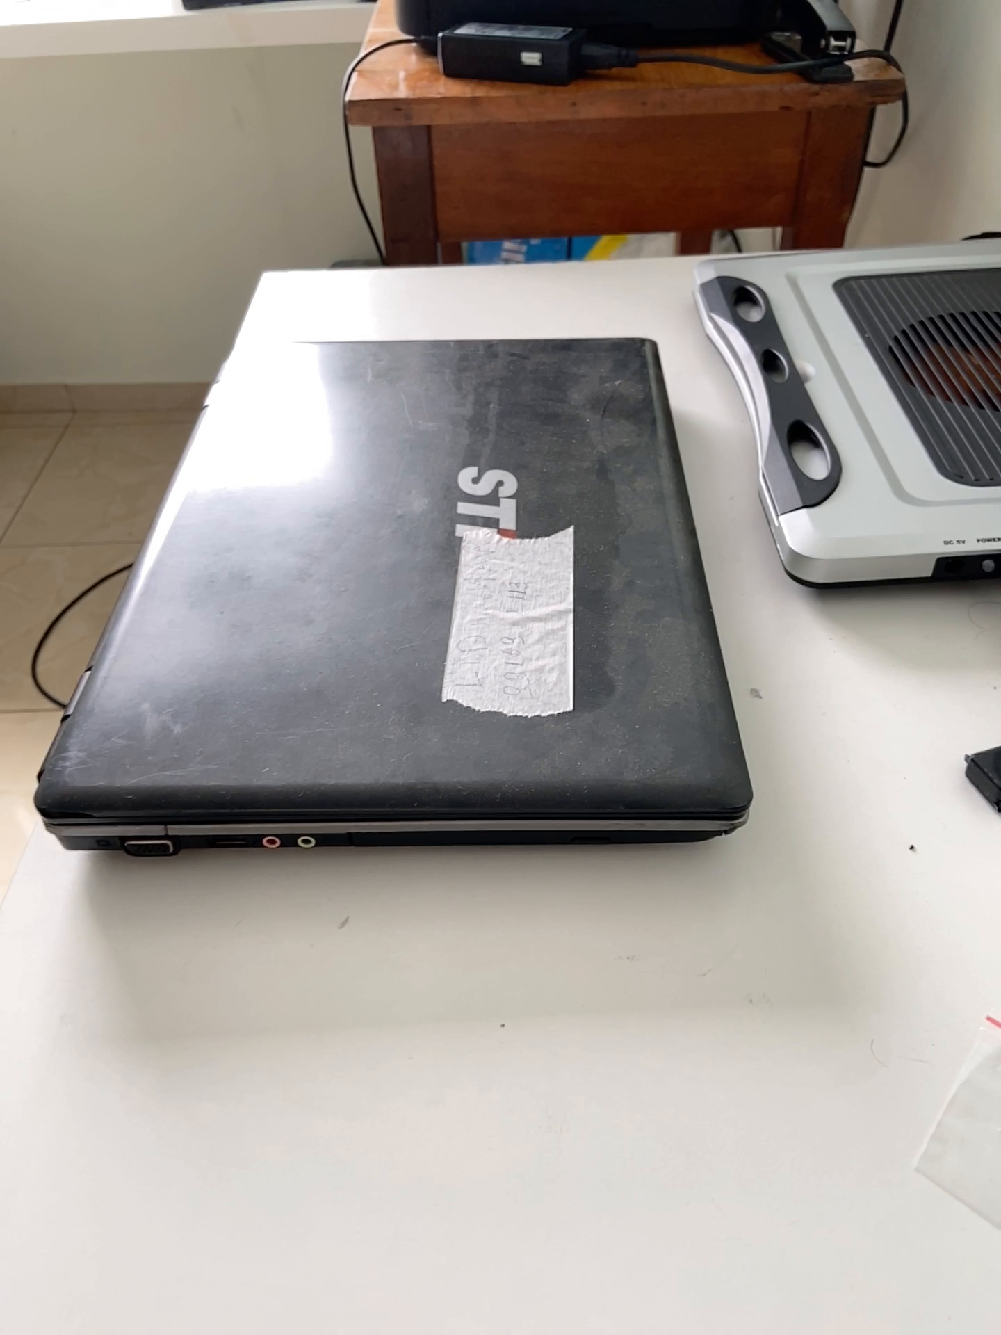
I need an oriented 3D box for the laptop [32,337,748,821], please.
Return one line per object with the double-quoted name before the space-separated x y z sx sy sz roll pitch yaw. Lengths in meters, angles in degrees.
"laptop" -0.033 -0.068 0.463 0.234 0.006 0.339 0 43 2
